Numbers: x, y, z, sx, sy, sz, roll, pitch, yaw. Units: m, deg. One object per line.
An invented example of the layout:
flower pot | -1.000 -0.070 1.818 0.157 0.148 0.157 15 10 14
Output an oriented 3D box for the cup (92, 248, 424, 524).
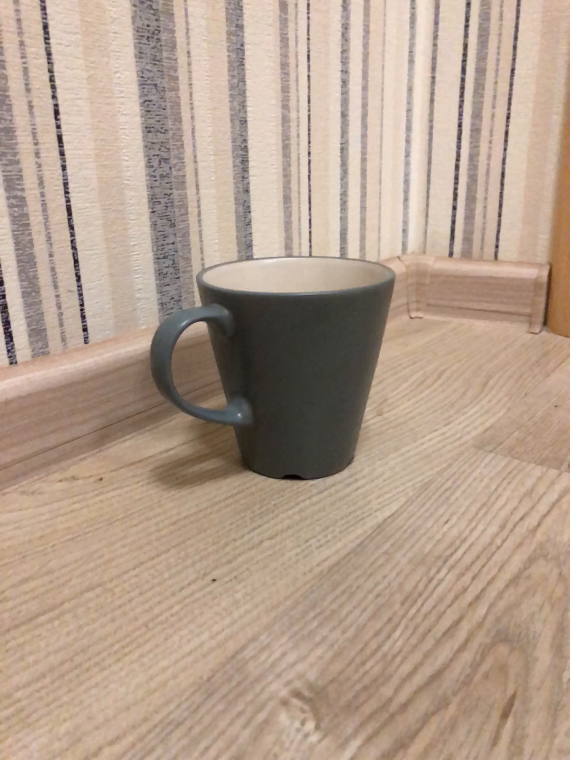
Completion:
cup | -0.011 -0.010 0.311 0.125 0.089 0.096 -17 24 -37
